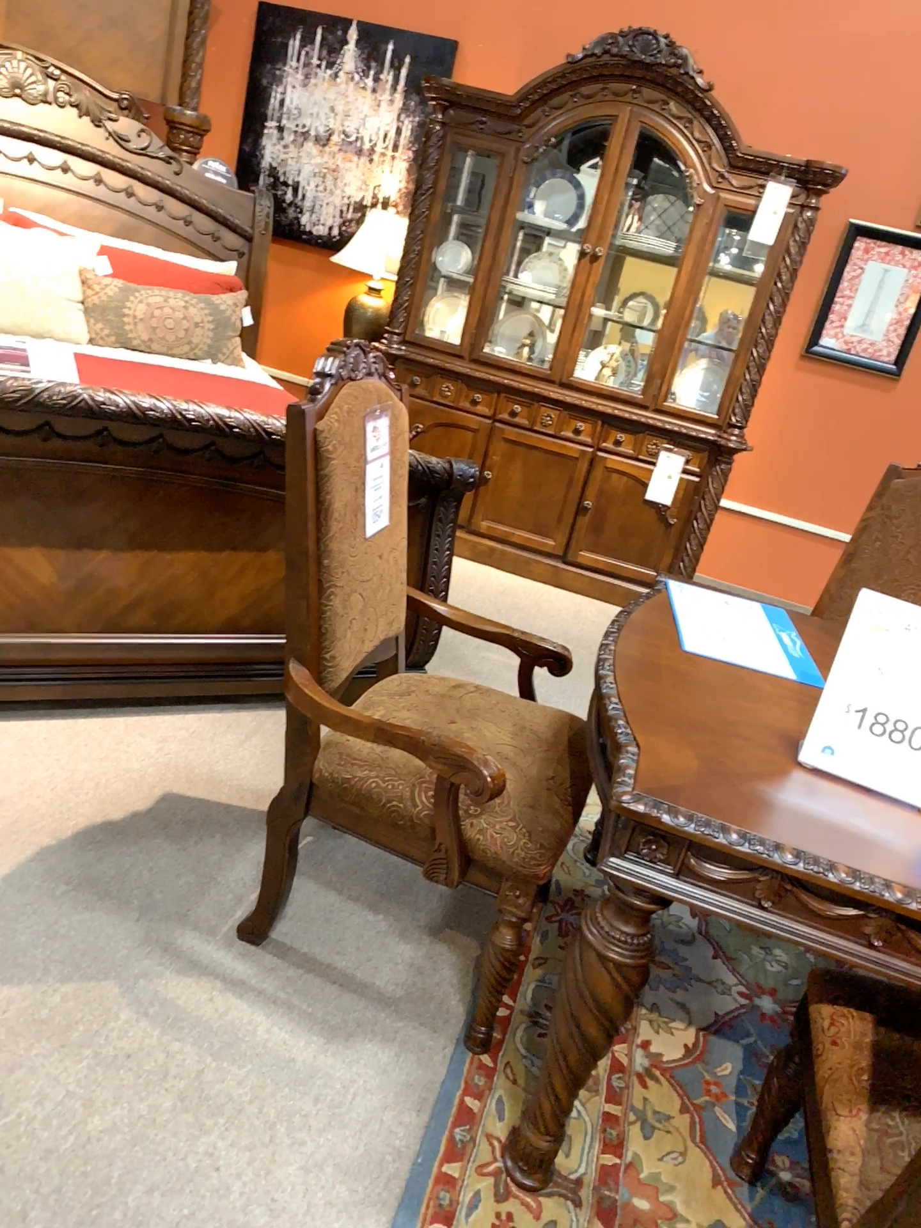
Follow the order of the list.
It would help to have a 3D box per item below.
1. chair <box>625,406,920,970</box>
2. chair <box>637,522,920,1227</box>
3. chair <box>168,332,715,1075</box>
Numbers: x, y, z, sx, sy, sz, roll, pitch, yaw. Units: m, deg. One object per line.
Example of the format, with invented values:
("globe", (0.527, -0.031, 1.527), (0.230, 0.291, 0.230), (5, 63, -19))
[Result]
("chair", (1.030, 0.166, 2.396), (0.670, 1.184, 0.605), (0, 25, -33))
("chair", (0.687, 0.573, 1.077), (0.563, 1.134, 0.622), (19, 22, 13))
("chair", (-0.038, 0.118, 1.798), (0.669, 1.124, 0.586), (19, 22, 12))
